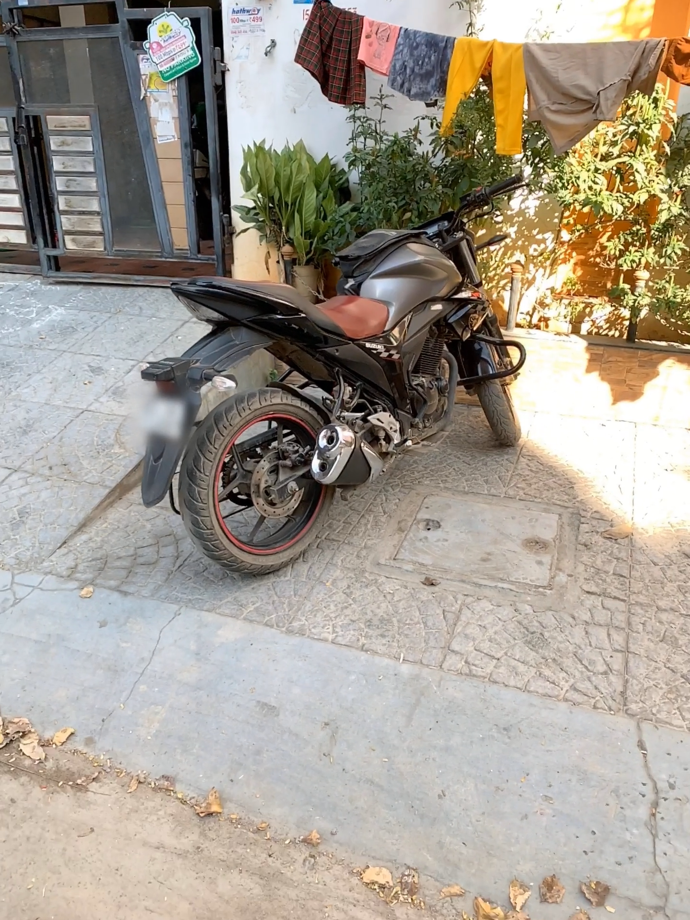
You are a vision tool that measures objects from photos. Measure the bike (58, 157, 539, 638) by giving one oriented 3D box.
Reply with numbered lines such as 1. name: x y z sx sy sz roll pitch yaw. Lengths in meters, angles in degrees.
1. bike: -0.042 -0.441 2.536 0.810 1.140 1.628 17 29 33
